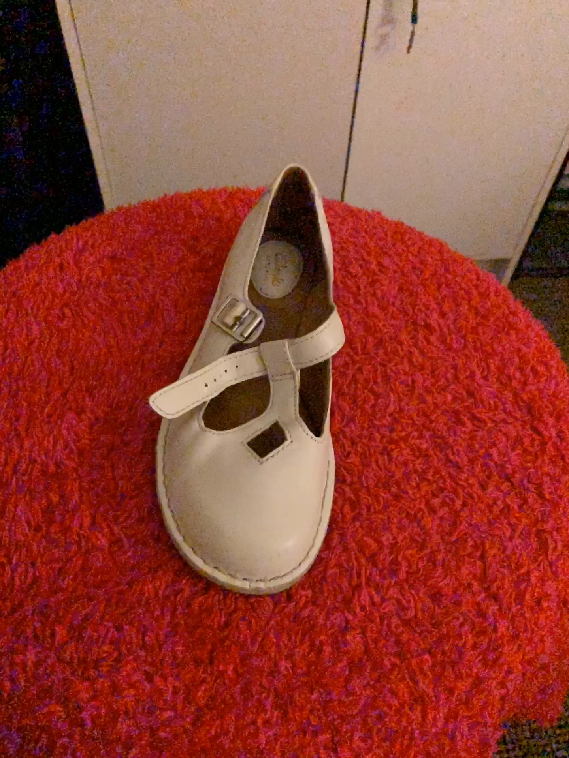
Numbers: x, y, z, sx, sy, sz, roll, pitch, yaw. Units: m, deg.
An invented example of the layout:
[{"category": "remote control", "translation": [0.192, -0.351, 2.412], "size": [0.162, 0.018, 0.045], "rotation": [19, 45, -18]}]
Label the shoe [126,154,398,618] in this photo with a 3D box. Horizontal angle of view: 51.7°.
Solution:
[{"category": "shoe", "translation": [-0.007, -0.015, 0.333], "size": [0.100, 0.089, 0.262], "rotation": [2, 51, -1]}]
